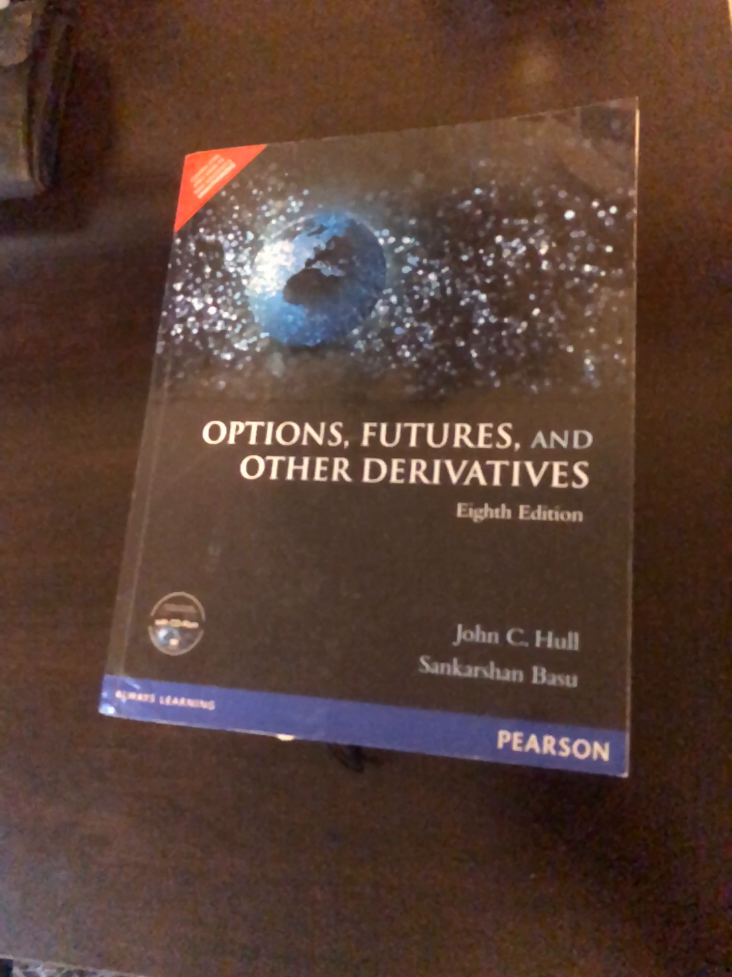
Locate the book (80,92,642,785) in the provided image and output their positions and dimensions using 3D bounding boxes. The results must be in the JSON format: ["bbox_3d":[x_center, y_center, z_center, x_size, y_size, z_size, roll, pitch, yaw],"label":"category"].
[{"bbox_3d":[0.005,-0.027,0.343,0.207,0.050,0.261,2,77,16],"label":"book"}]
